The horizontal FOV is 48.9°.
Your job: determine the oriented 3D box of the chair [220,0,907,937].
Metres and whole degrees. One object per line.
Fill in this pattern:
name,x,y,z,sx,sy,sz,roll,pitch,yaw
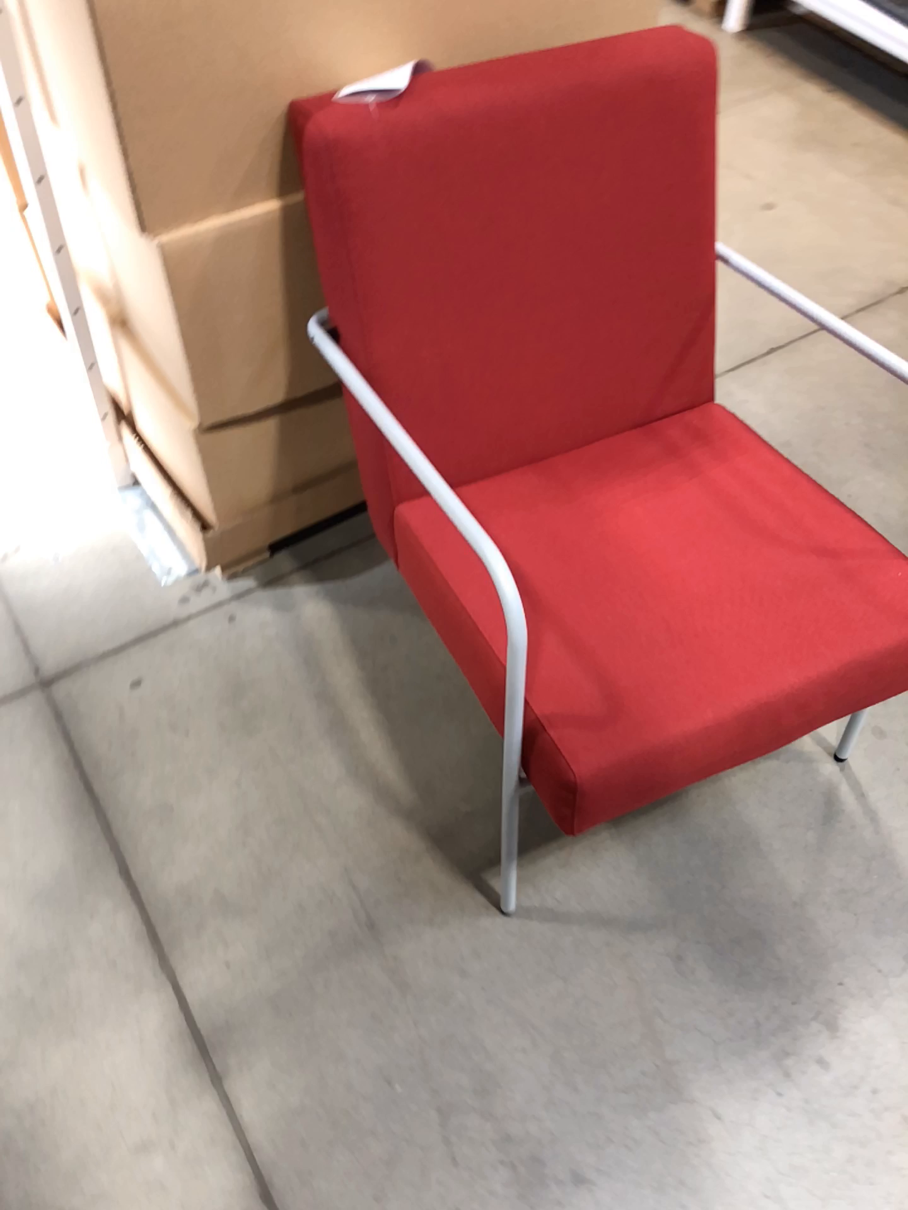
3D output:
chair,0.183,-0.177,1.259,0.630,0.708,0.762,-20,57,-16
